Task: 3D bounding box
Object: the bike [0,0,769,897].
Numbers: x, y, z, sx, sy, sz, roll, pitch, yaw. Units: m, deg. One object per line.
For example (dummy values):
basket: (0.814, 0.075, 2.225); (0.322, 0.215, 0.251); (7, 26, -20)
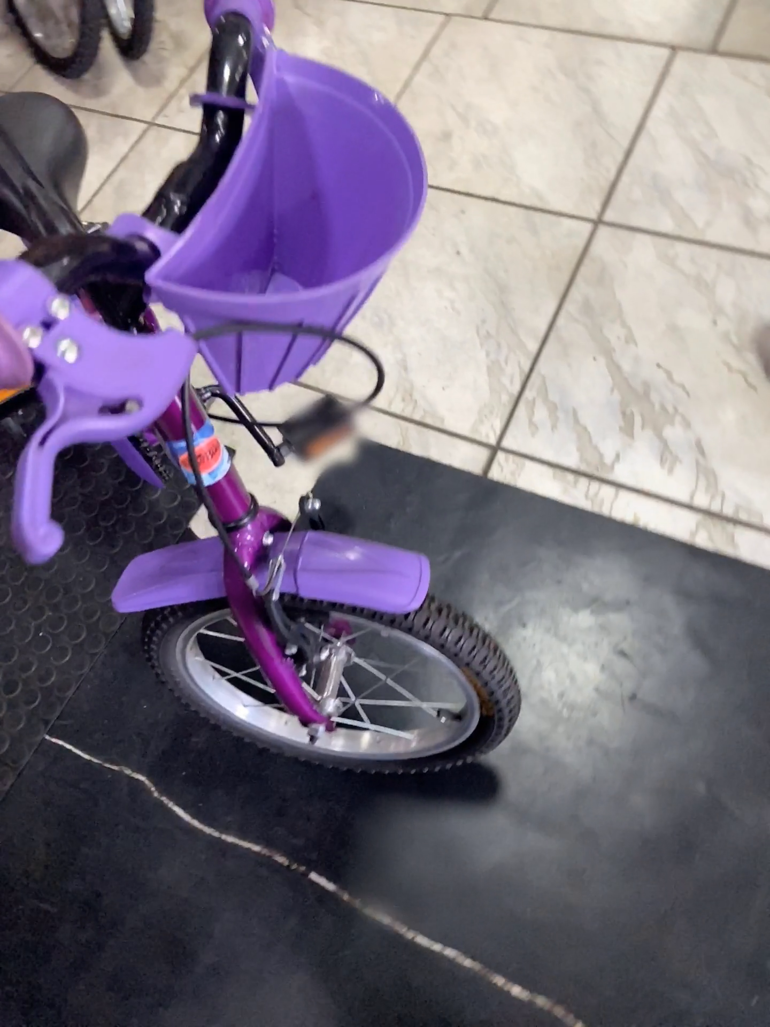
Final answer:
bike: (-0.246, -0.202, 0.783); (0.448, 0.744, 0.973); (-41, 64, -12)
